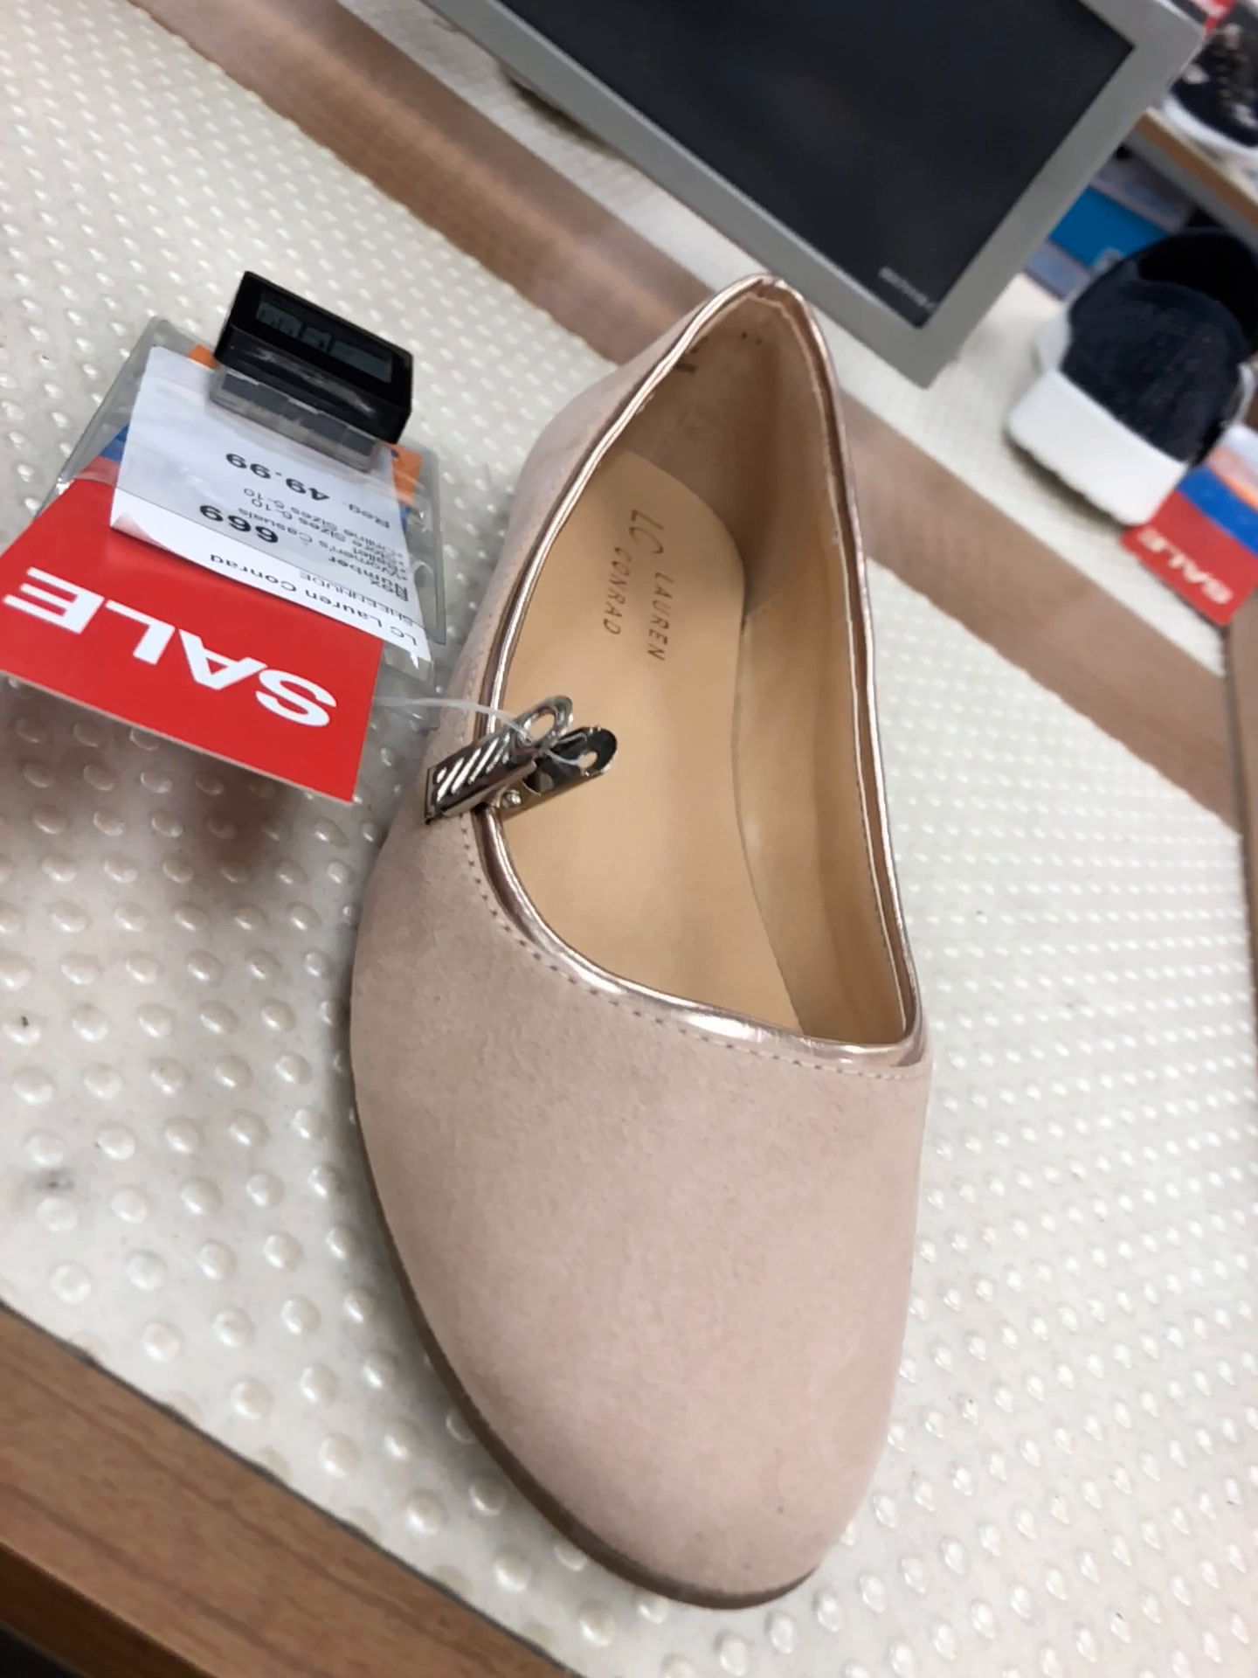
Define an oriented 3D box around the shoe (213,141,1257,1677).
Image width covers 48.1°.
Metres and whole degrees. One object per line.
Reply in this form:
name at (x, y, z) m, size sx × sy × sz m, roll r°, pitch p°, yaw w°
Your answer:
shoe at (0.016, -0.016, 0.213) m, size 0.085 × 0.063 × 0.228 m, roll 24°, pitch 40°, yaw -19°
